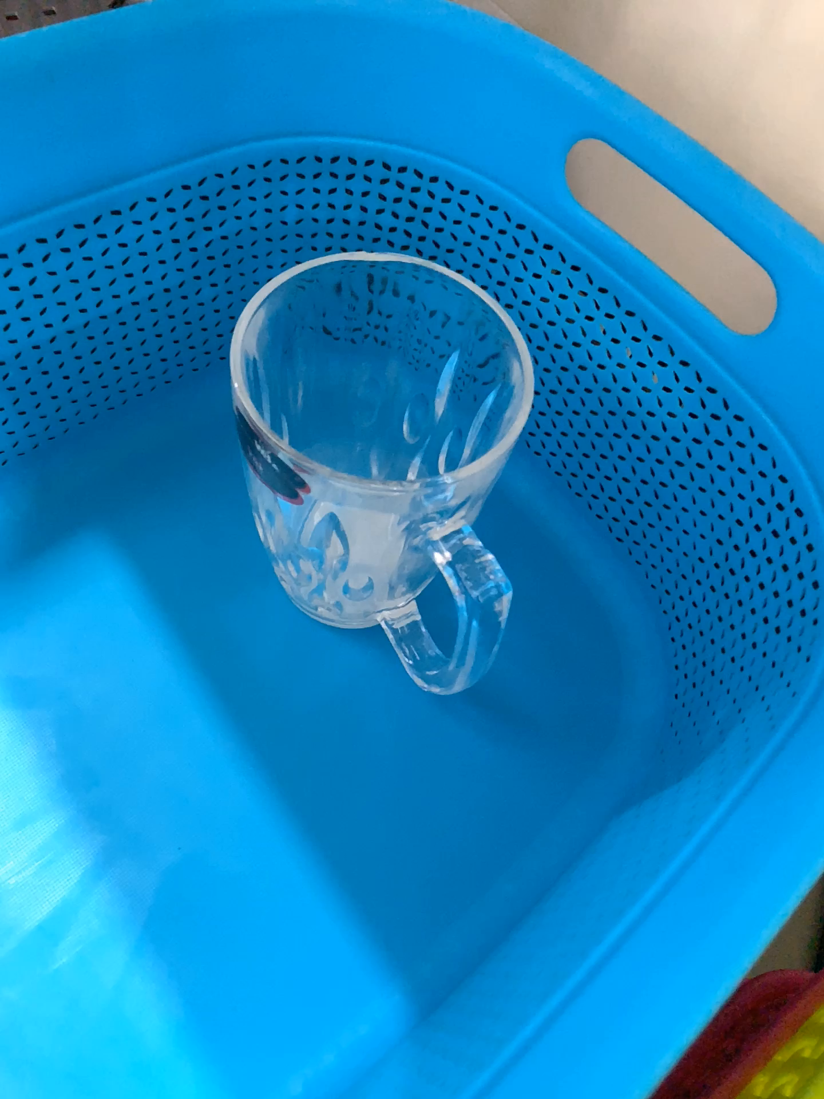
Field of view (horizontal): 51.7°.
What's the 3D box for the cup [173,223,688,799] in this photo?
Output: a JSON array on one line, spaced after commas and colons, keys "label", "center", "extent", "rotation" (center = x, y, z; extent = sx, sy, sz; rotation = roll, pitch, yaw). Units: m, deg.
[{"label": "cup", "center": [-0.004, -0.007, 0.255], "extent": [0.080, 0.109, 0.110], "rotation": [-26, 68, -21]}]
